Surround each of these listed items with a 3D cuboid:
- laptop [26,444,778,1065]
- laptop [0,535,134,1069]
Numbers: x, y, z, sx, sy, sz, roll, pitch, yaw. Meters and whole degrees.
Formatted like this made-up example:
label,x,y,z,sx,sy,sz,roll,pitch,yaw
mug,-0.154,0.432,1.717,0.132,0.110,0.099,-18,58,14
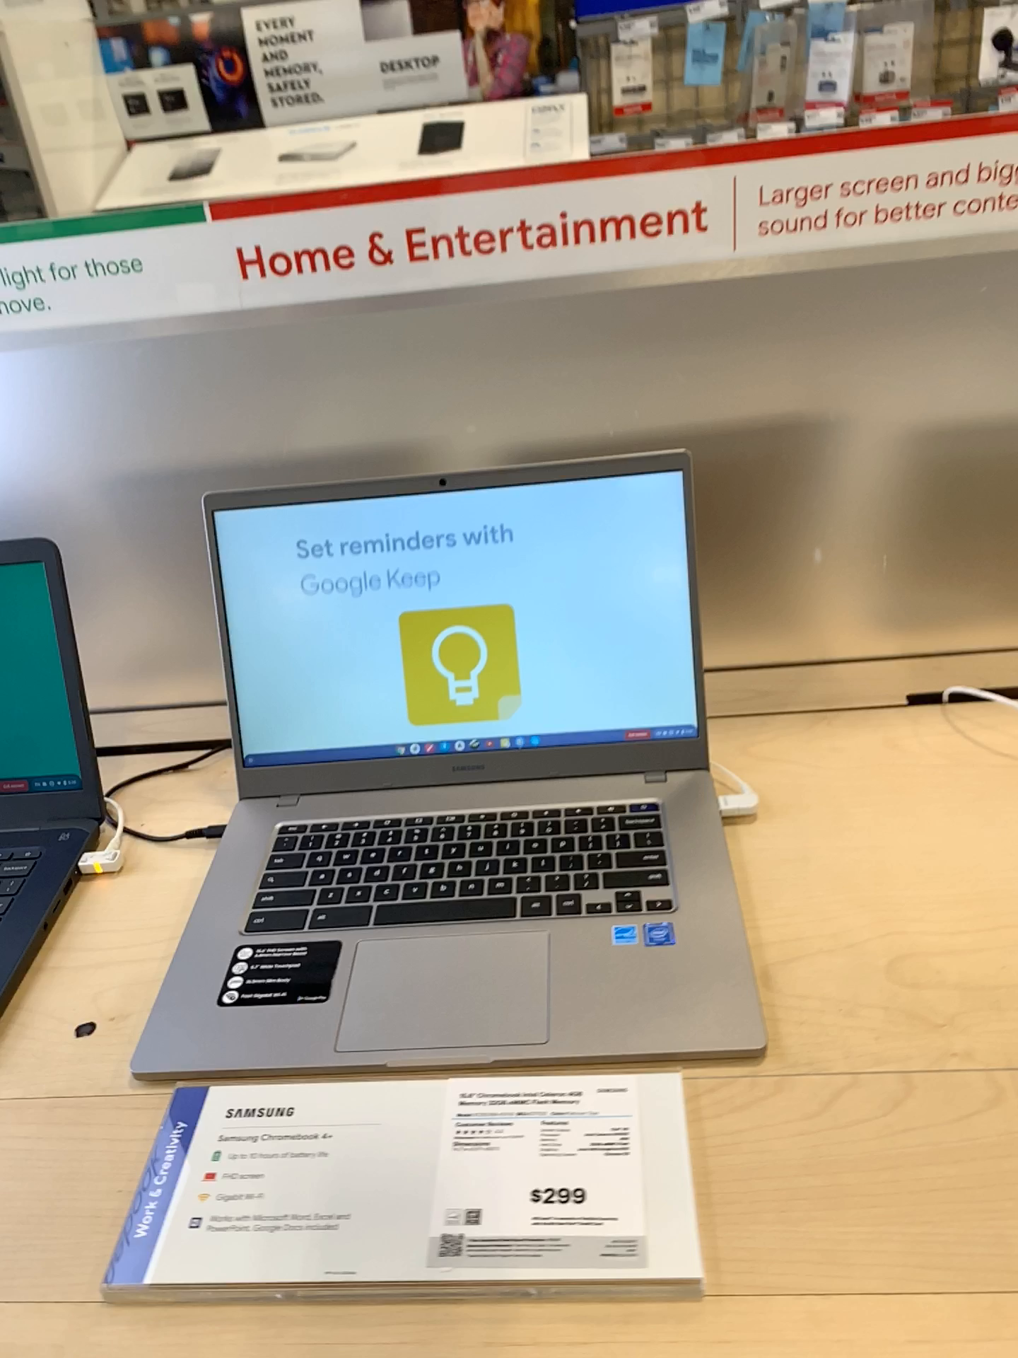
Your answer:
label,x,y,z,sx,sy,sz,roll,pitch,yaw
laptop,-0.035,0.027,0.649,0.340,0.200,0.326,-4,32,6
laptop,-0.458,0.064,0.674,0.300,0.191,0.288,-5,30,5
